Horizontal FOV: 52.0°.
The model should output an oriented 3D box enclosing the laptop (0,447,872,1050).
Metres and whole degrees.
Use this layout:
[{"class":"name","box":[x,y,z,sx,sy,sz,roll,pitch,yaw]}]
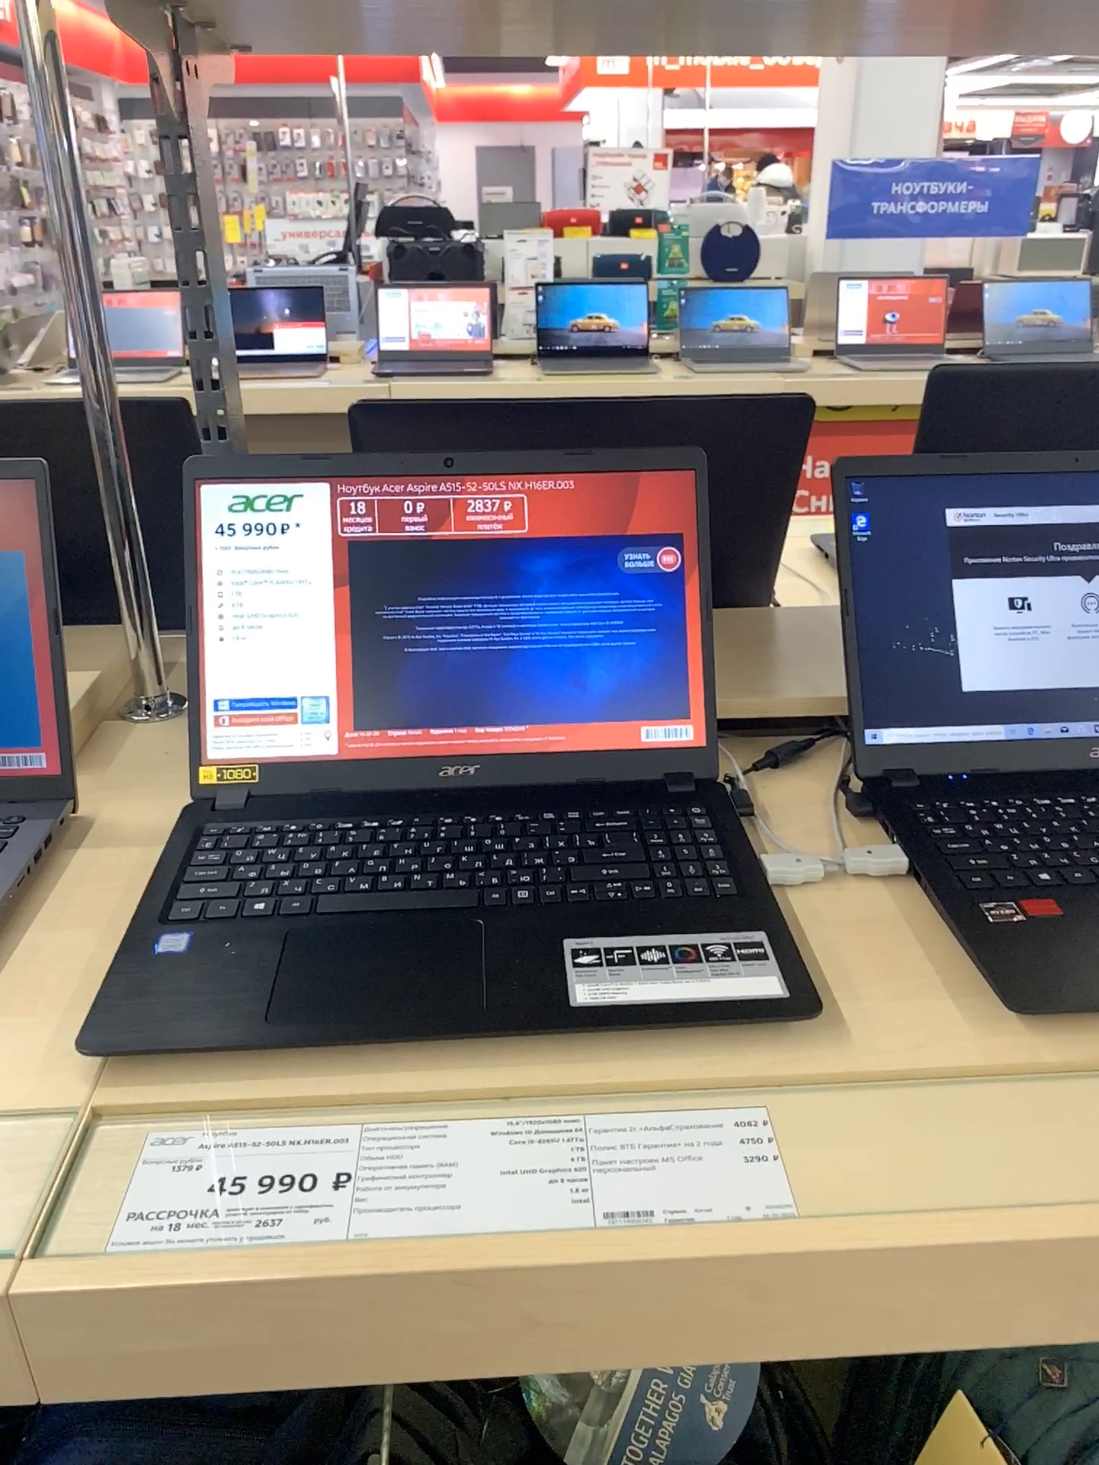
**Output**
[{"class":"laptop","box":[-0.058,-0.026,0.678,0.368,0.208,0.366,-2,25,-3]}]
